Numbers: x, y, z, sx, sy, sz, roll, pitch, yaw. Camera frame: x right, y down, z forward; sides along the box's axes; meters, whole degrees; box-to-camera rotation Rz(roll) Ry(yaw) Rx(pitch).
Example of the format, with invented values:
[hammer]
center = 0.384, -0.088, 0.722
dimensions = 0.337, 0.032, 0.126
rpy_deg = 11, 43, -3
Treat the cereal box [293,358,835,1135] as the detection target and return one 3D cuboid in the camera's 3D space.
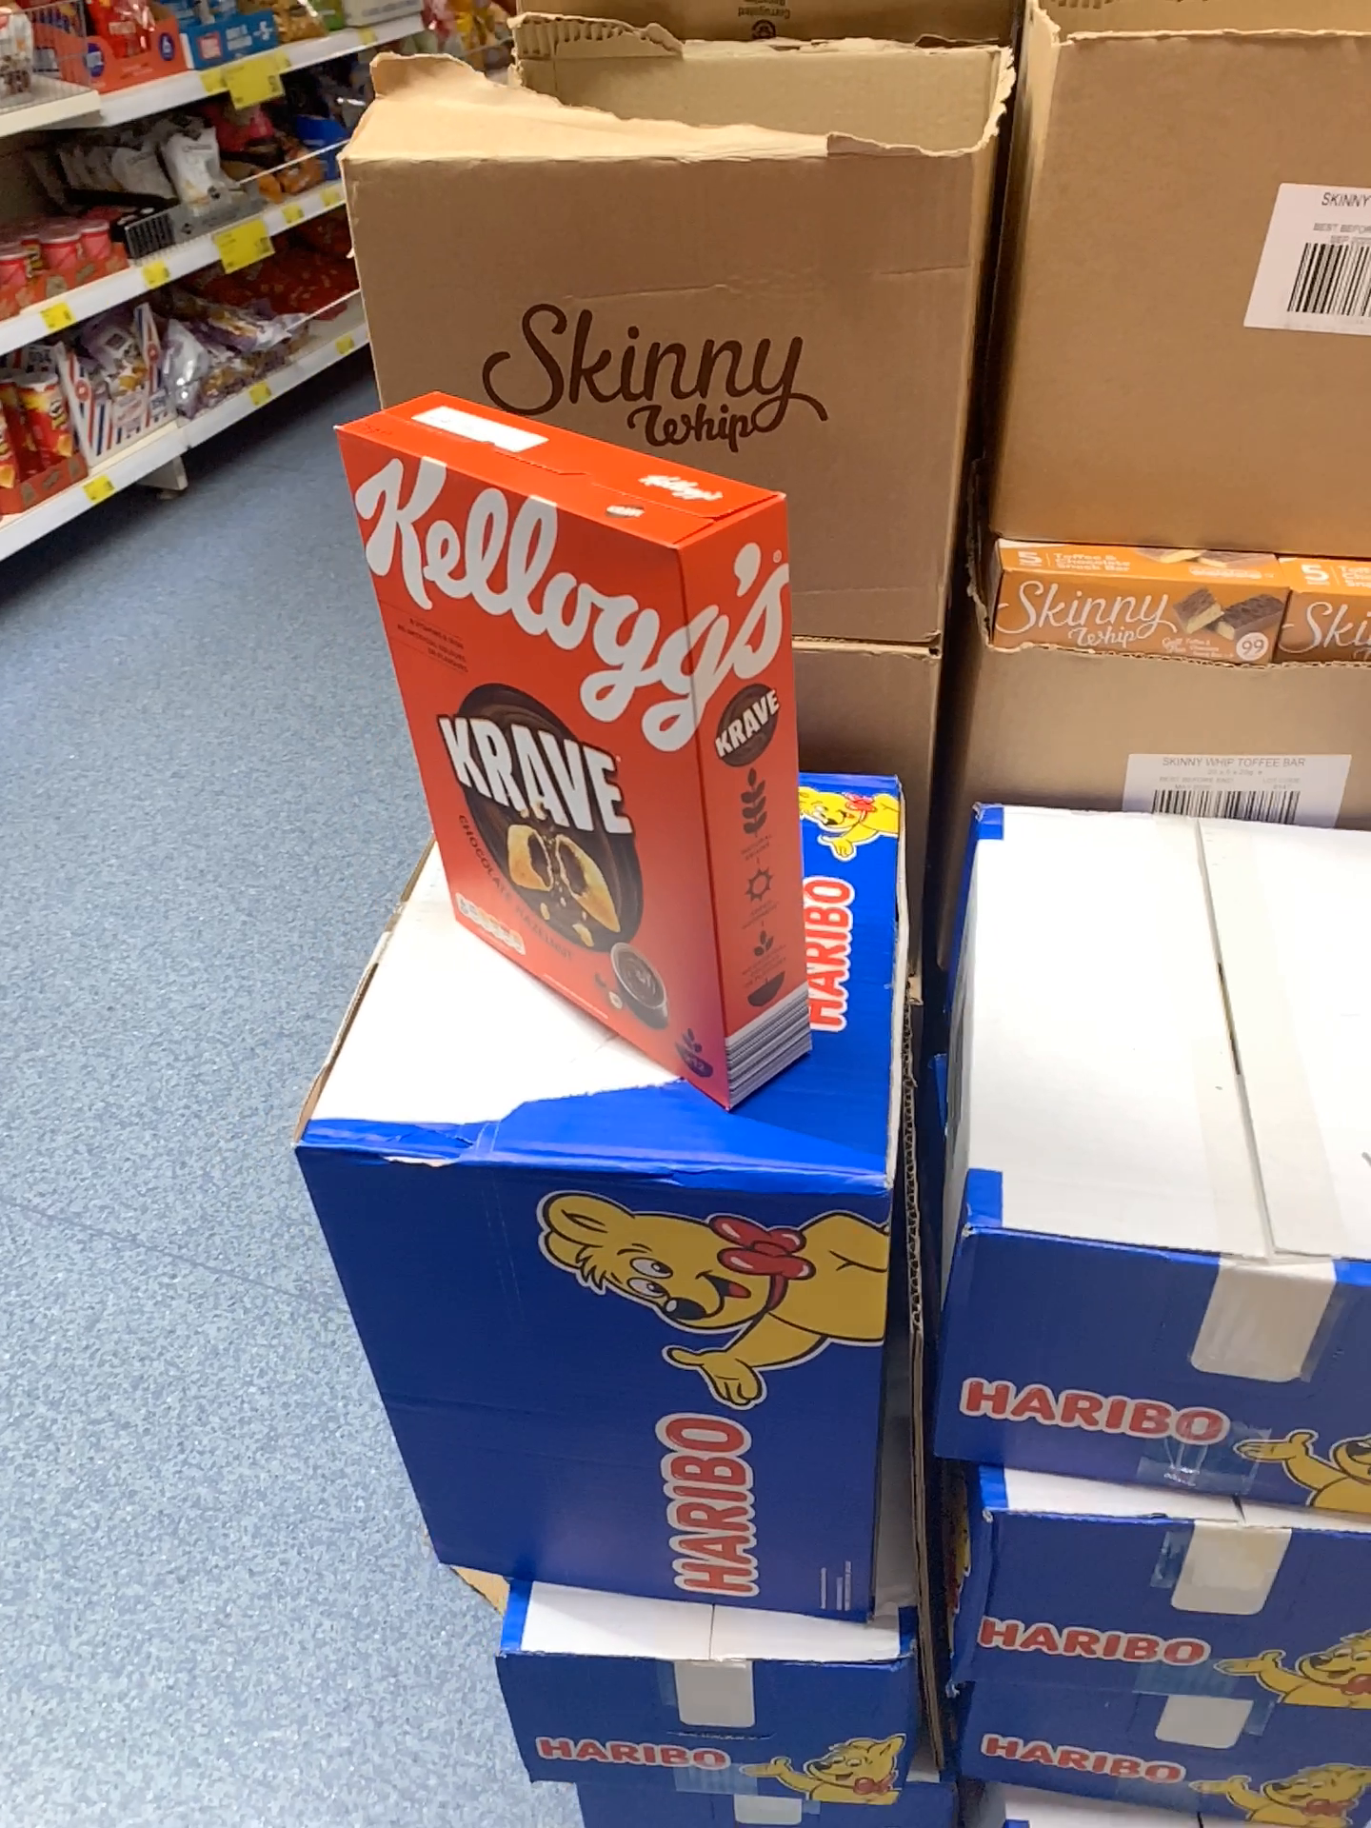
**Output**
[cereal box]
center = -0.041, -0.065, 0.533
dimensions = 0.060, 0.238, 0.201
rpy_deg = -33, 45, -30
